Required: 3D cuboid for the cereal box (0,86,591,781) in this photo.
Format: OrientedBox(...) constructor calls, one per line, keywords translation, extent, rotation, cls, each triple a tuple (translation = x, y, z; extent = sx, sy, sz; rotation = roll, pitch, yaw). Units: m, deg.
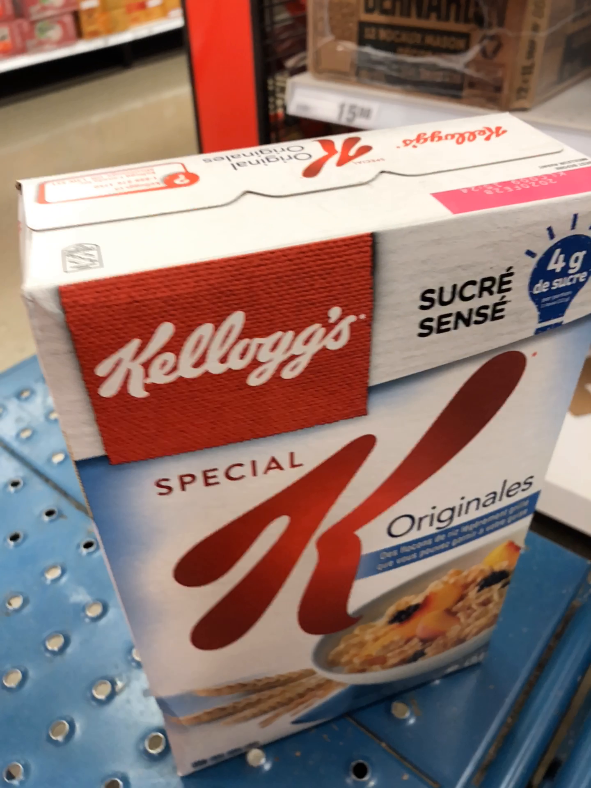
OrientedBox(translation=(0.013, 0.037, 0.309), extent=(0.210, 0.299, 0.080), rotation=(-13, 39, -14), cls="cereal box")
